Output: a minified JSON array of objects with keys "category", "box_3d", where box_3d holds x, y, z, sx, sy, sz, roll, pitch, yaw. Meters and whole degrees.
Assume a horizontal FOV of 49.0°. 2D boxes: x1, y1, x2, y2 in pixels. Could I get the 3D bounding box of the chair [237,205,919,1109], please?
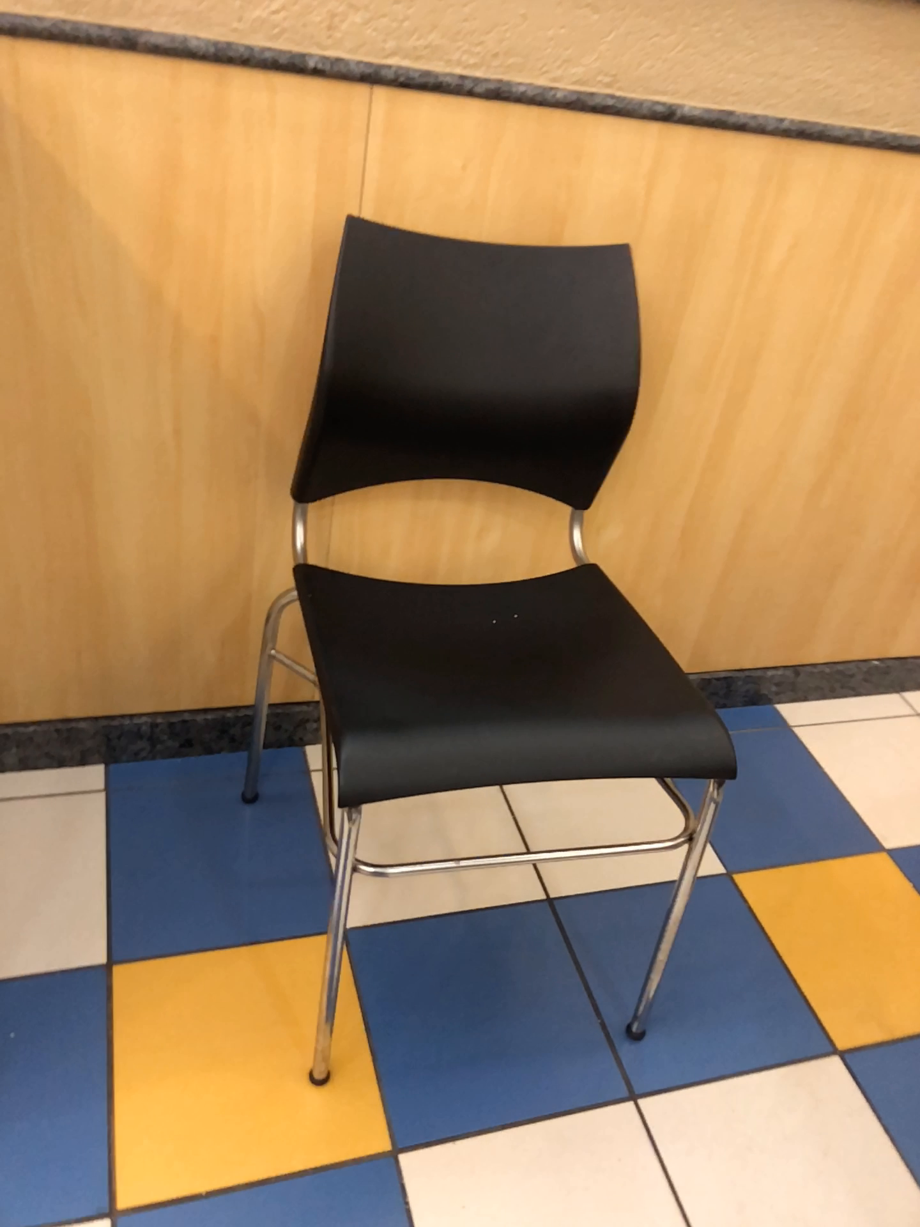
[{"category":"chair","box_3d":[0.021,0.058,1.225,0.511,0.873,0.554,-1,36,-16]}]
